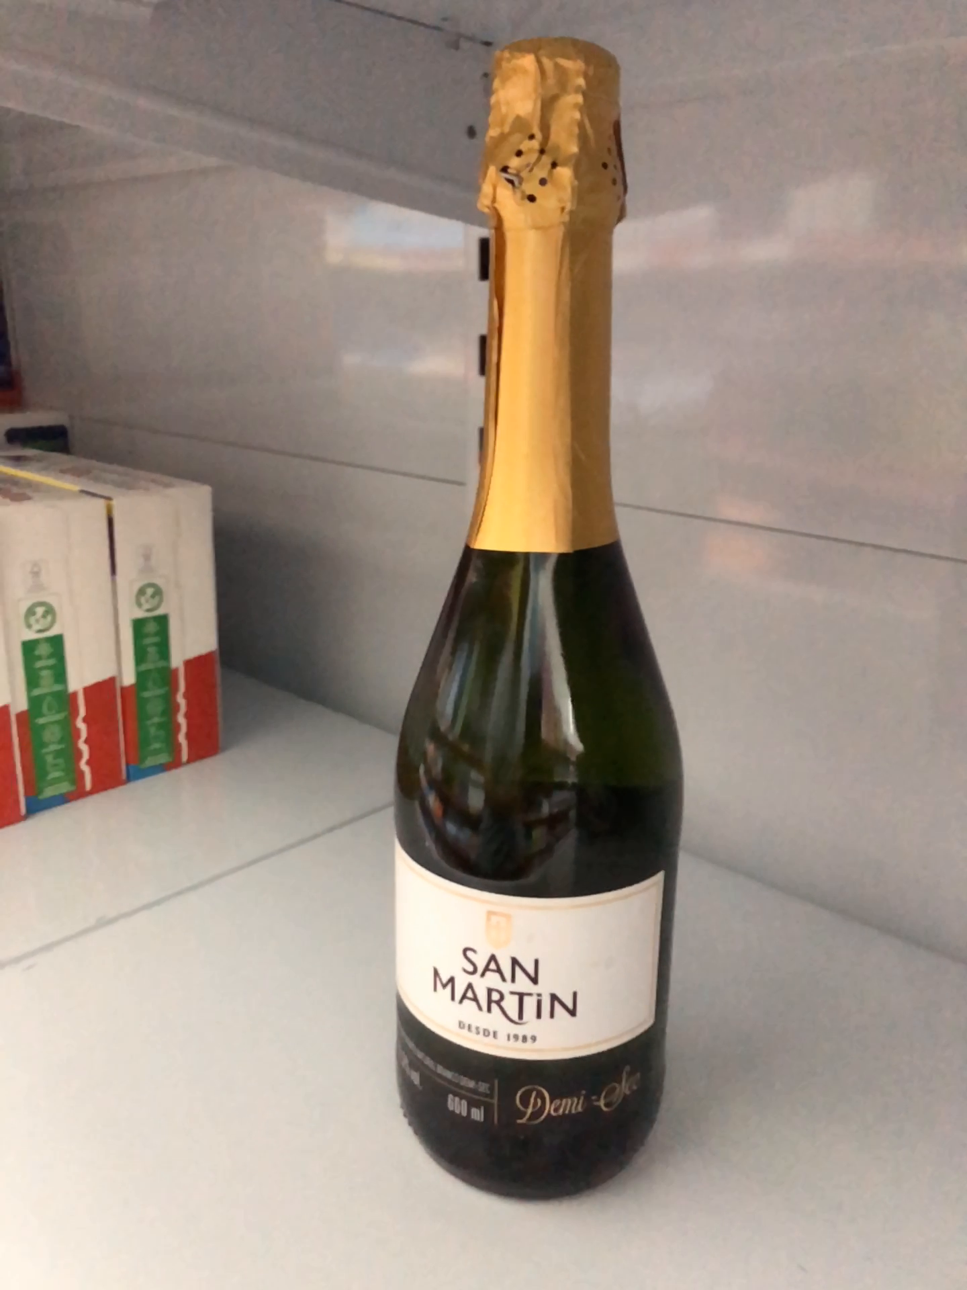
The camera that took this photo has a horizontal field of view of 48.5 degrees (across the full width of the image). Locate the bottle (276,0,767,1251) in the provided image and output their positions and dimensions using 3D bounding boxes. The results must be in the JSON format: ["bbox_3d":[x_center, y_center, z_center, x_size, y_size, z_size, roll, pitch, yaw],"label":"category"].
[{"bbox_3d":[0.013,-0.007,0.284,0.090,0.308,0.080,6,18,18],"label":"bottle"}]
